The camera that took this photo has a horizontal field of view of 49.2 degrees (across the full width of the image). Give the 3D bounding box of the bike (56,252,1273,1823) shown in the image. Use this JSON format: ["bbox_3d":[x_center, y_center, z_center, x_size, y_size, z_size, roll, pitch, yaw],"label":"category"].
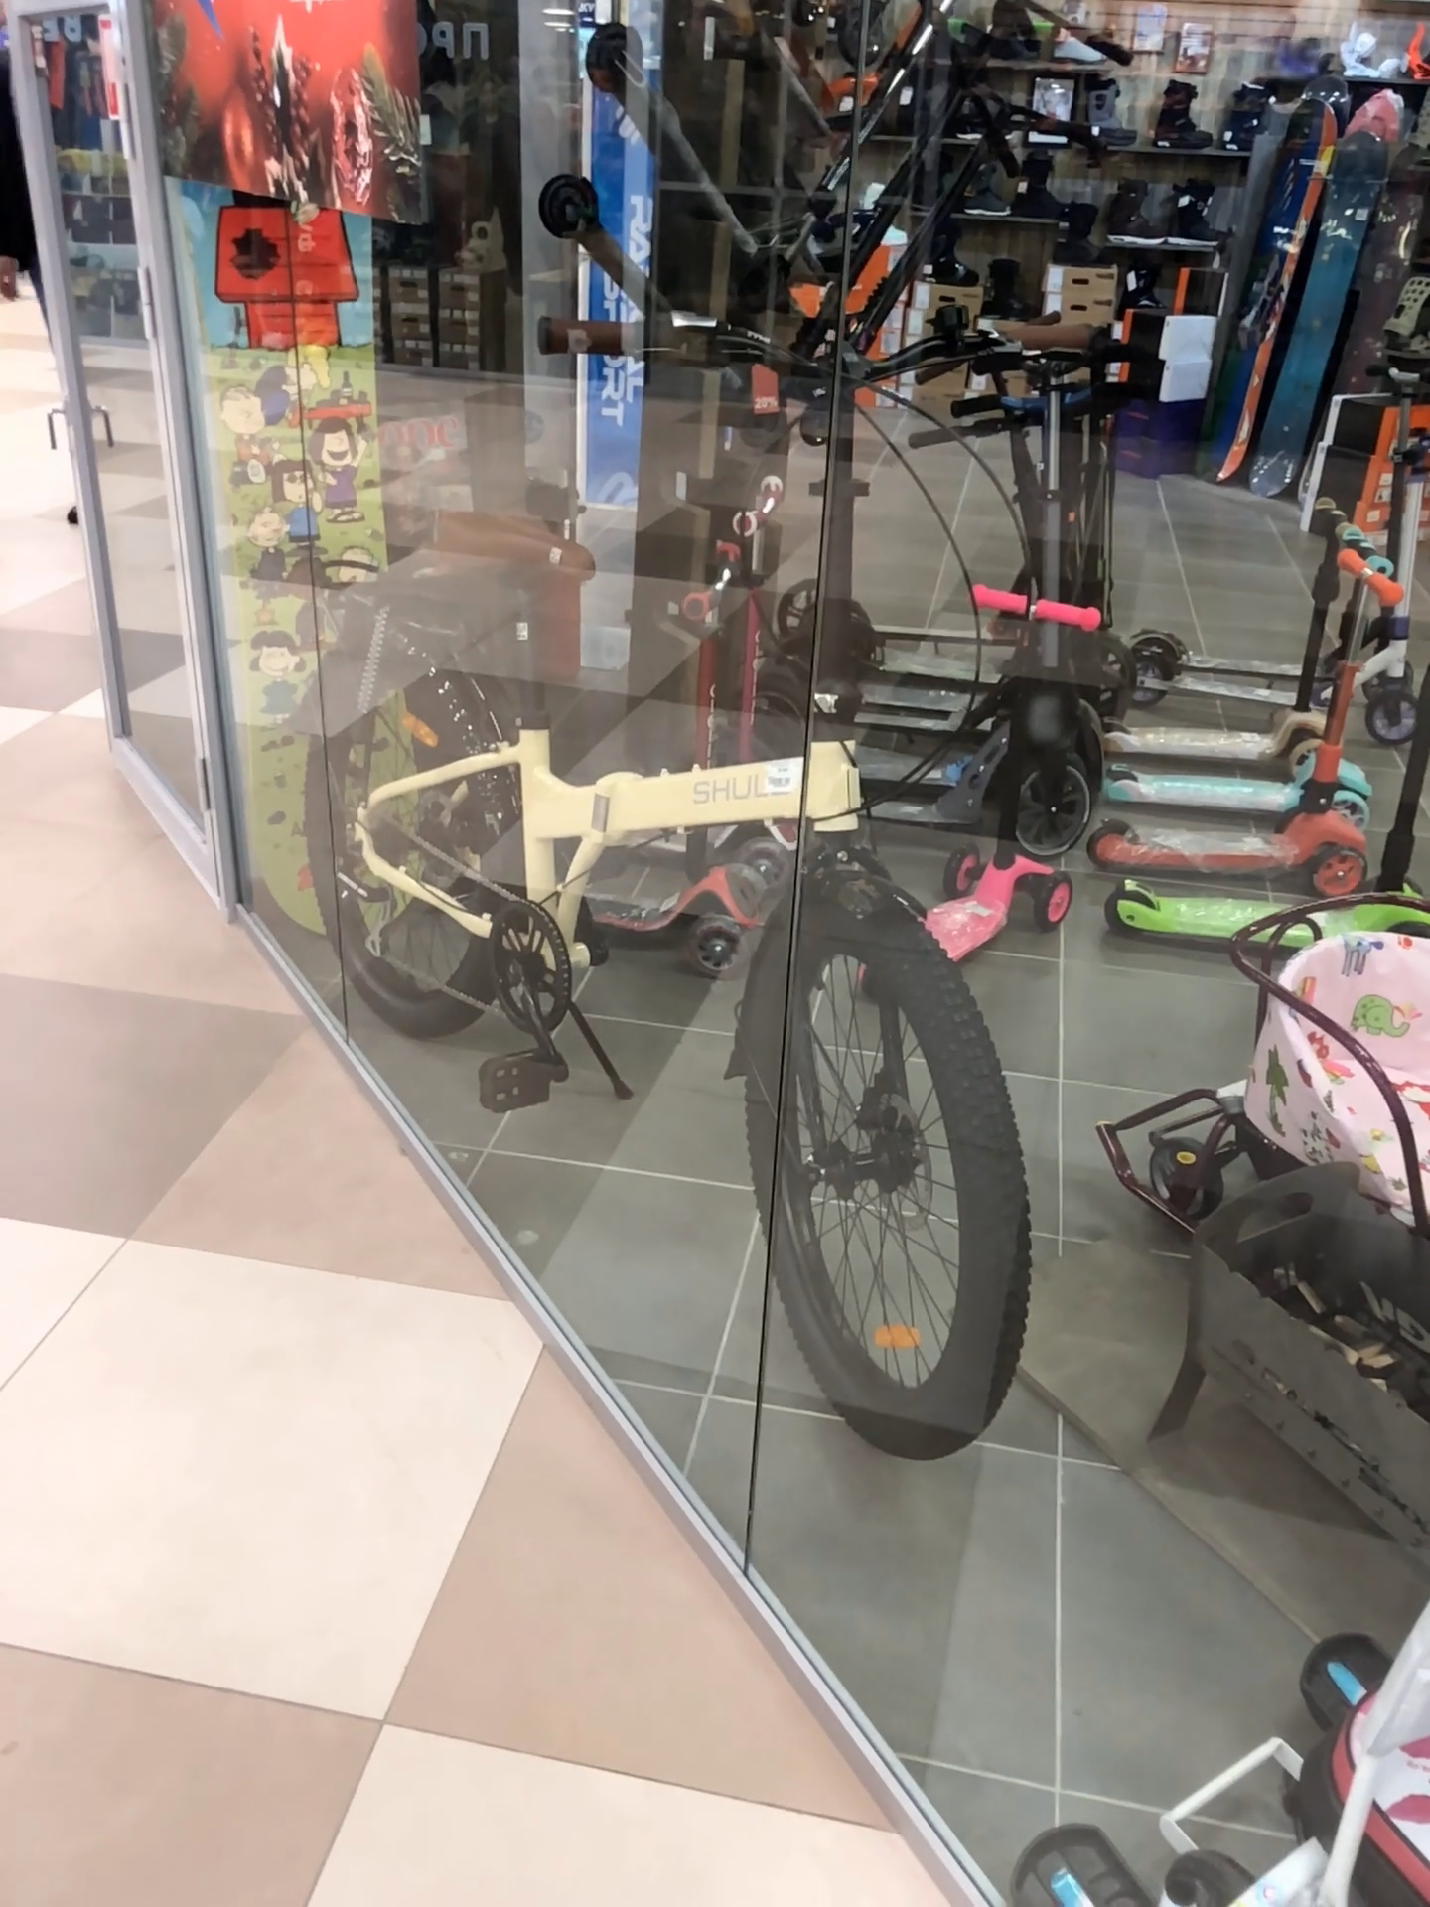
[{"bbox_3d":[-0.246,-0.174,1.982,0.594,1.175,1.709,-15,32,-33],"label":"bike"}]
